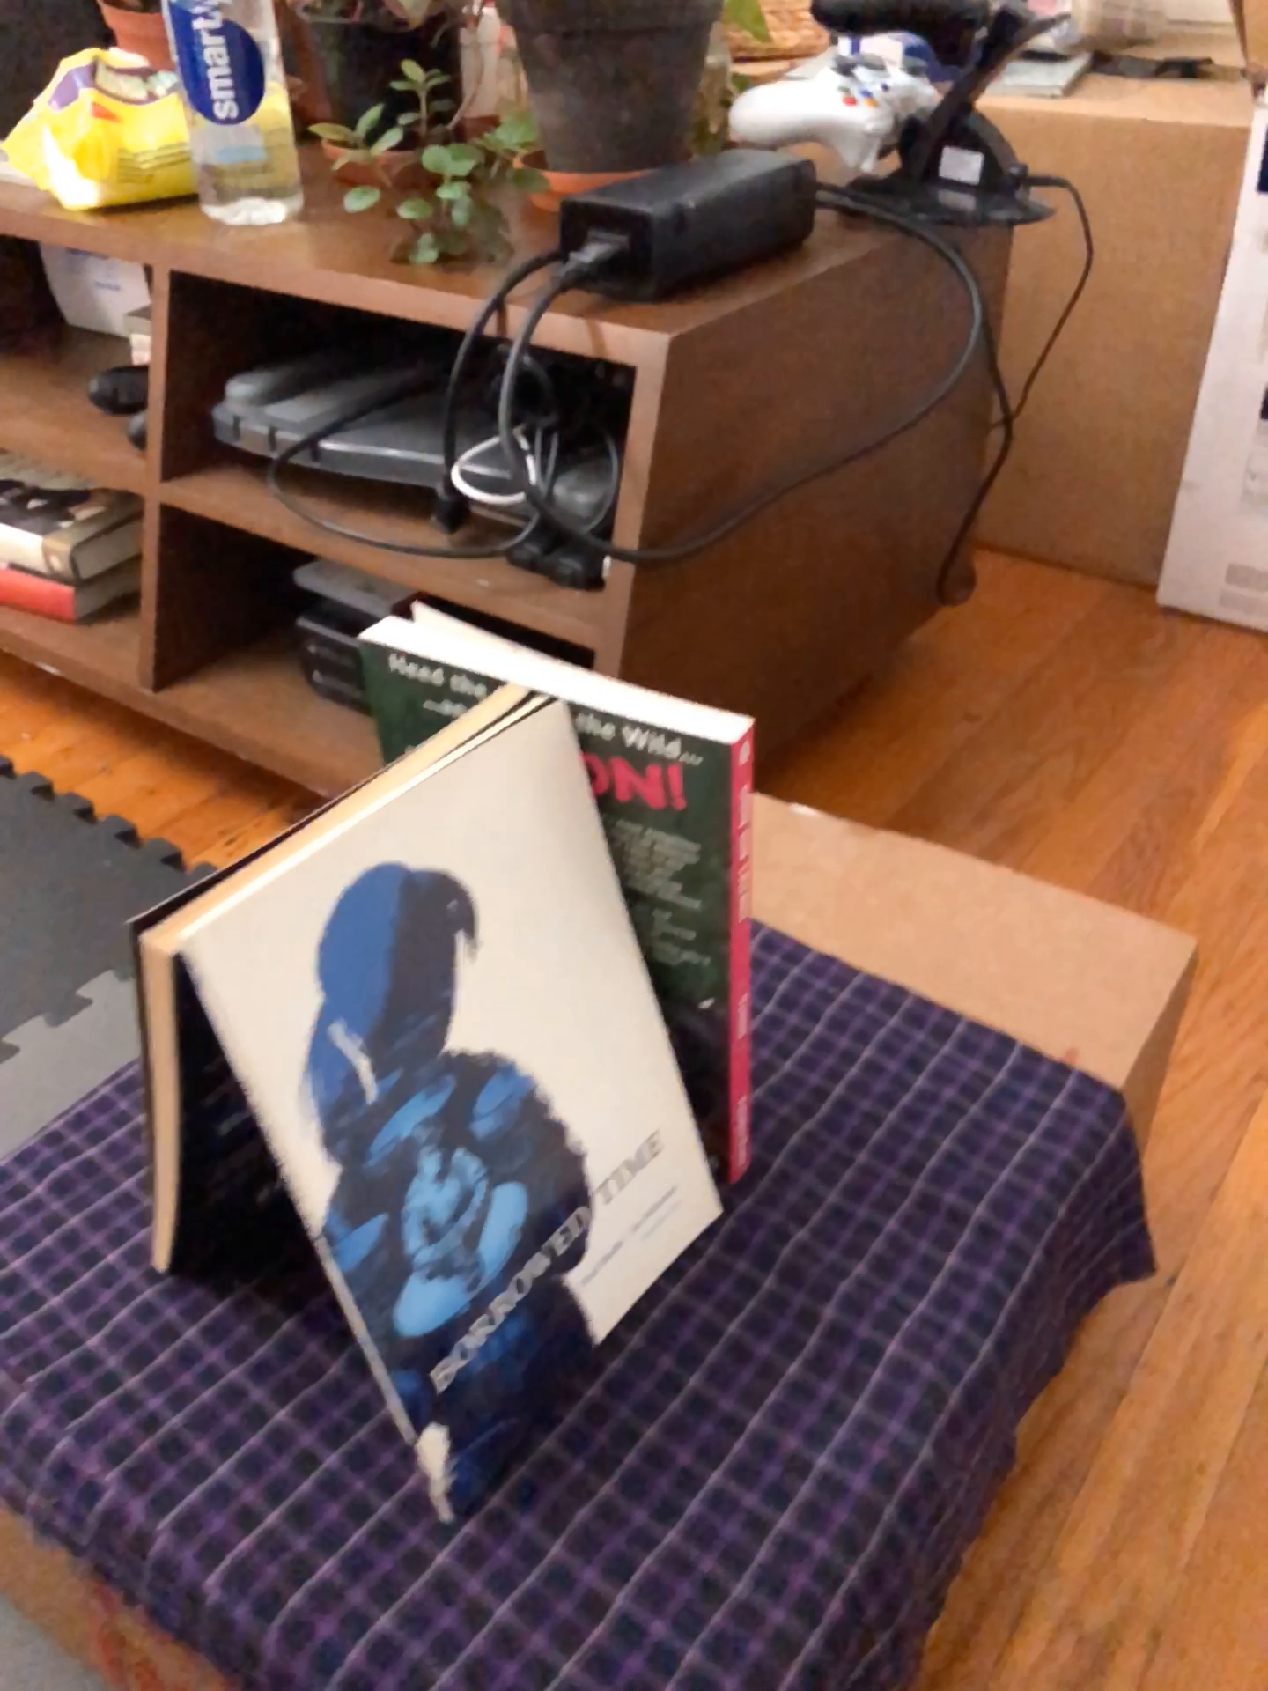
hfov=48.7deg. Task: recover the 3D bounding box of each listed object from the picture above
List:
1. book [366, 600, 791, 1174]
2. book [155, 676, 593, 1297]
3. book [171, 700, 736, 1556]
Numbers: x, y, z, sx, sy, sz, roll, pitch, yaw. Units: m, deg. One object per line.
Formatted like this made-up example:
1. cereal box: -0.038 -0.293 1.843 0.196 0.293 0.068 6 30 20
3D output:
1. book: -0.014 0.019 0.479 0.140 0.189 0.020 21 48 28
2. book: -0.087 0.051 0.449 0.010 0.199 0.151 39 50 16
3. book: -0.036 0.078 0.405 0.010 0.199 0.141 3 30 40
